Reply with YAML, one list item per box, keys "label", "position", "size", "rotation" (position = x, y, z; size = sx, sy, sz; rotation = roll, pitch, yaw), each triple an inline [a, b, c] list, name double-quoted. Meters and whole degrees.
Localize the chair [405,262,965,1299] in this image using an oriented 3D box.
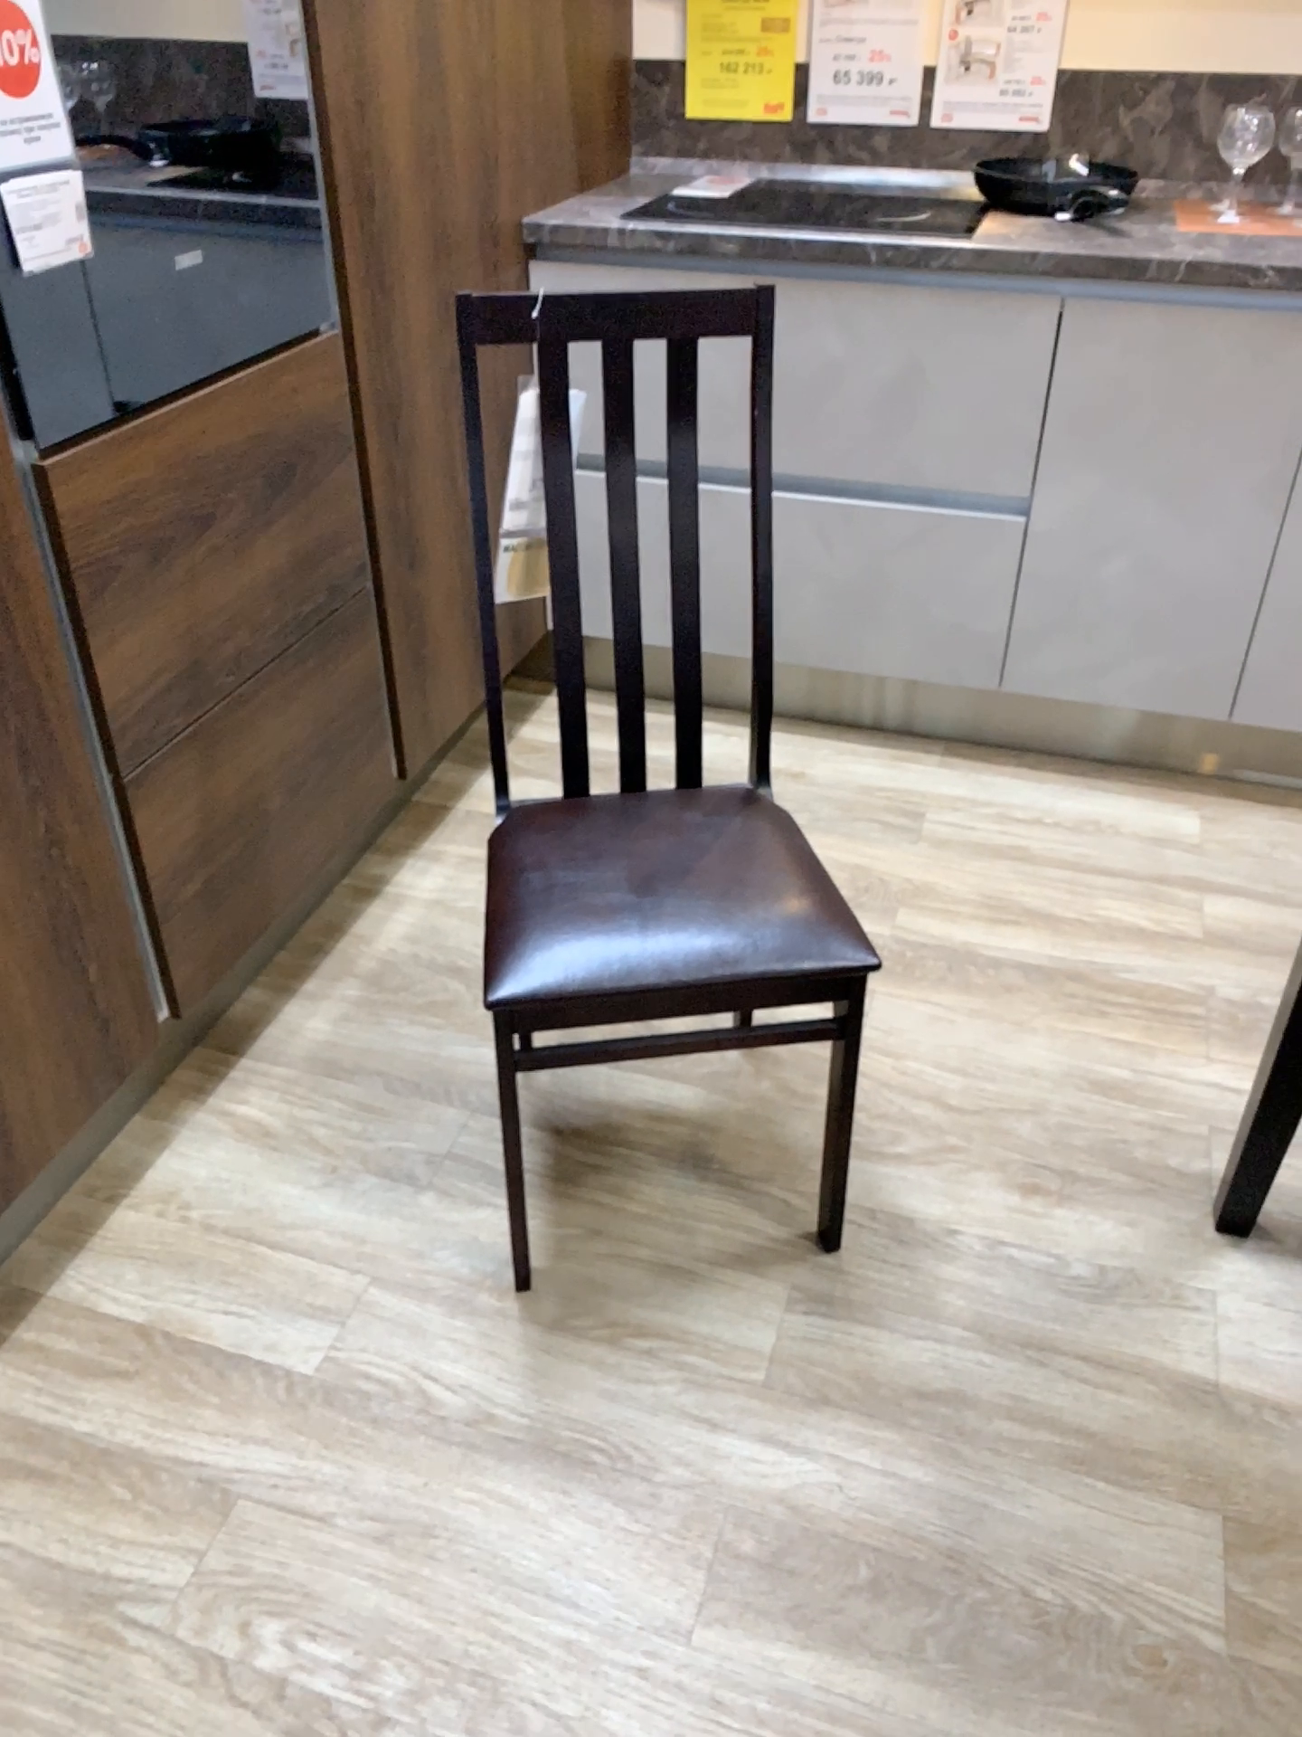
- label: "chair"
  position: [-0.009, -0.080, 1.516]
  size: [0.430, 1.014, 0.523]
  rotation: [-5, 35, -7]
